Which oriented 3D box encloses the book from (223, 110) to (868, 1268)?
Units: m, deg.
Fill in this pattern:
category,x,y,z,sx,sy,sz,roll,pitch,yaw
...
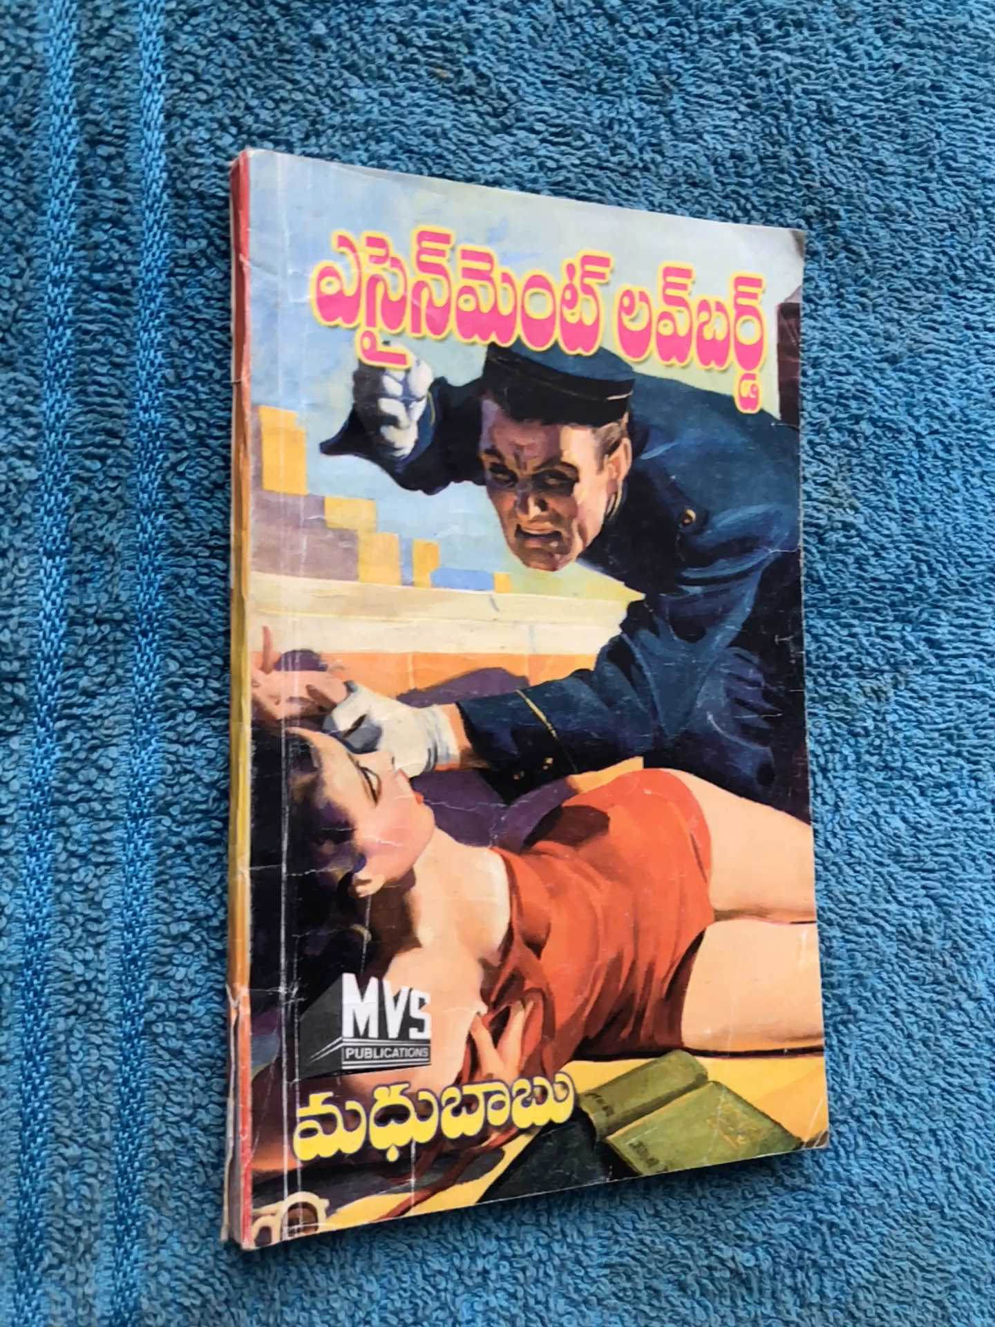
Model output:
category,x,y,z,sx,sy,sz,roll,pitch,yaw
book,0.008,0.002,0.186,0.100,0.030,0.160,1,85,-21
